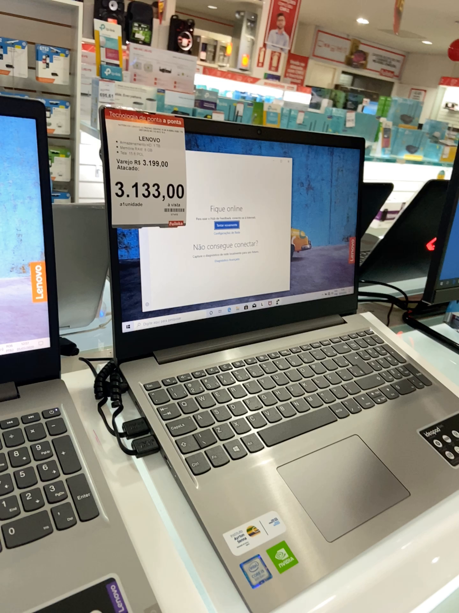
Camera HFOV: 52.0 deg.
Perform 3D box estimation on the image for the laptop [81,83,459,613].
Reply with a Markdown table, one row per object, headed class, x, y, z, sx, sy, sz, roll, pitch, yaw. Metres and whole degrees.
| class | x | y | z | sx | sy | sz | roll | pitch | yaw |
| --- | --- | --- | --- | --- | --- | --- | --- | --- | --- |
| laptop | 0.089 | -0.028 | 0.477 | 0.363 | 0.224 | 0.360 | -8 | 37 | -34 |
